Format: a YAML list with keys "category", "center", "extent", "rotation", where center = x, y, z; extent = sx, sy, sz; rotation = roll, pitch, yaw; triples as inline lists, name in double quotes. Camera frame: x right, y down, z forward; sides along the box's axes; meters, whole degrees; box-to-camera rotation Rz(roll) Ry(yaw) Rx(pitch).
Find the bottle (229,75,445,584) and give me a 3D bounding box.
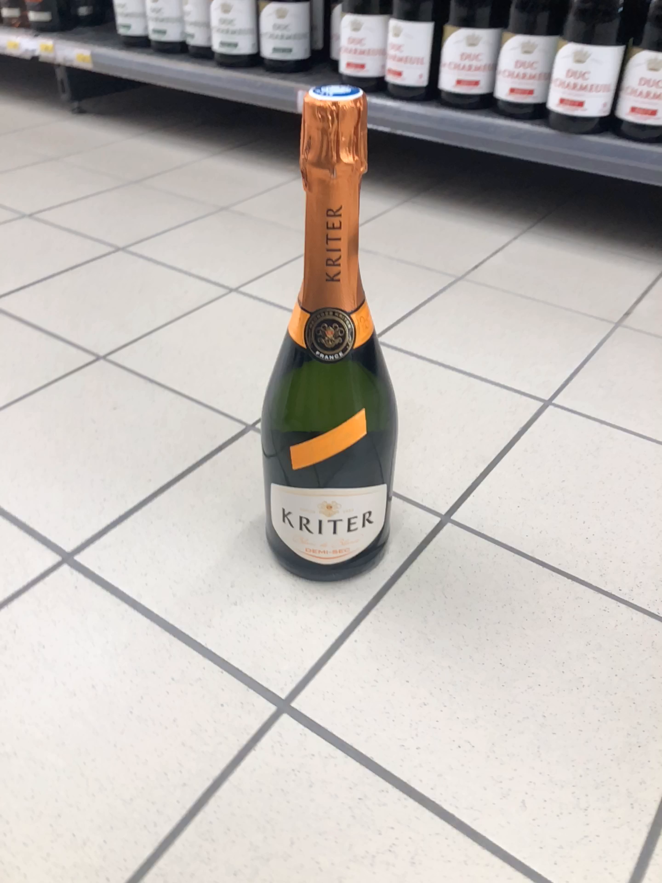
- category: "bottle"
  center: [0.000, -0.055, 0.467]
  extent: [0.100, 0.308, 0.101]
  rotation: [1, 35, -1]
